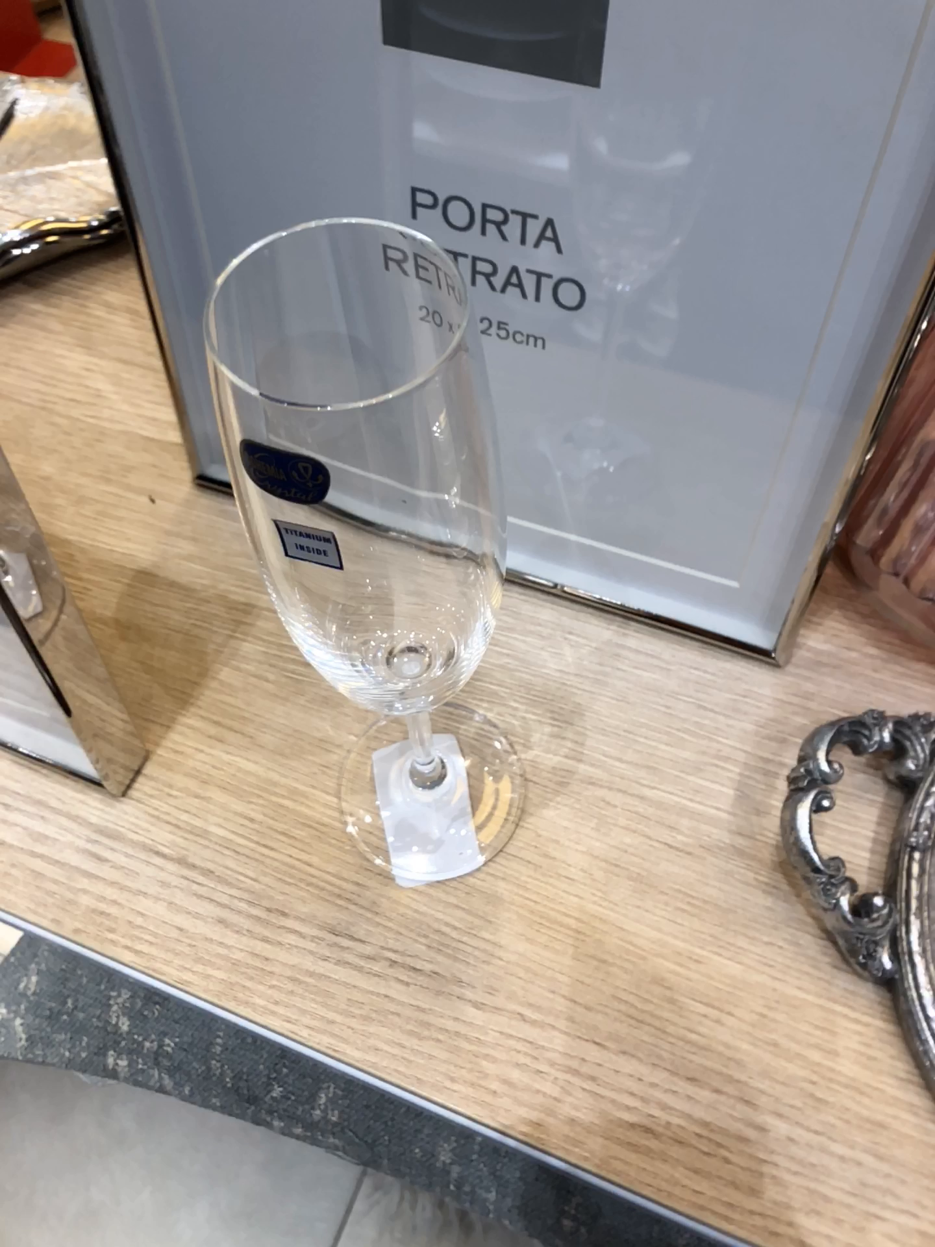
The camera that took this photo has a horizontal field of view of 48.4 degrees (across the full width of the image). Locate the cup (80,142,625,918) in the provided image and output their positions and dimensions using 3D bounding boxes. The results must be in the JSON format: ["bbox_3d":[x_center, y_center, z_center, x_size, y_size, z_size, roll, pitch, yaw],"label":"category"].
[{"bbox_3d":[-0.012,0.002,0.267,0.070,0.219,0.070,-1,59,2],"label":"cup"}]
